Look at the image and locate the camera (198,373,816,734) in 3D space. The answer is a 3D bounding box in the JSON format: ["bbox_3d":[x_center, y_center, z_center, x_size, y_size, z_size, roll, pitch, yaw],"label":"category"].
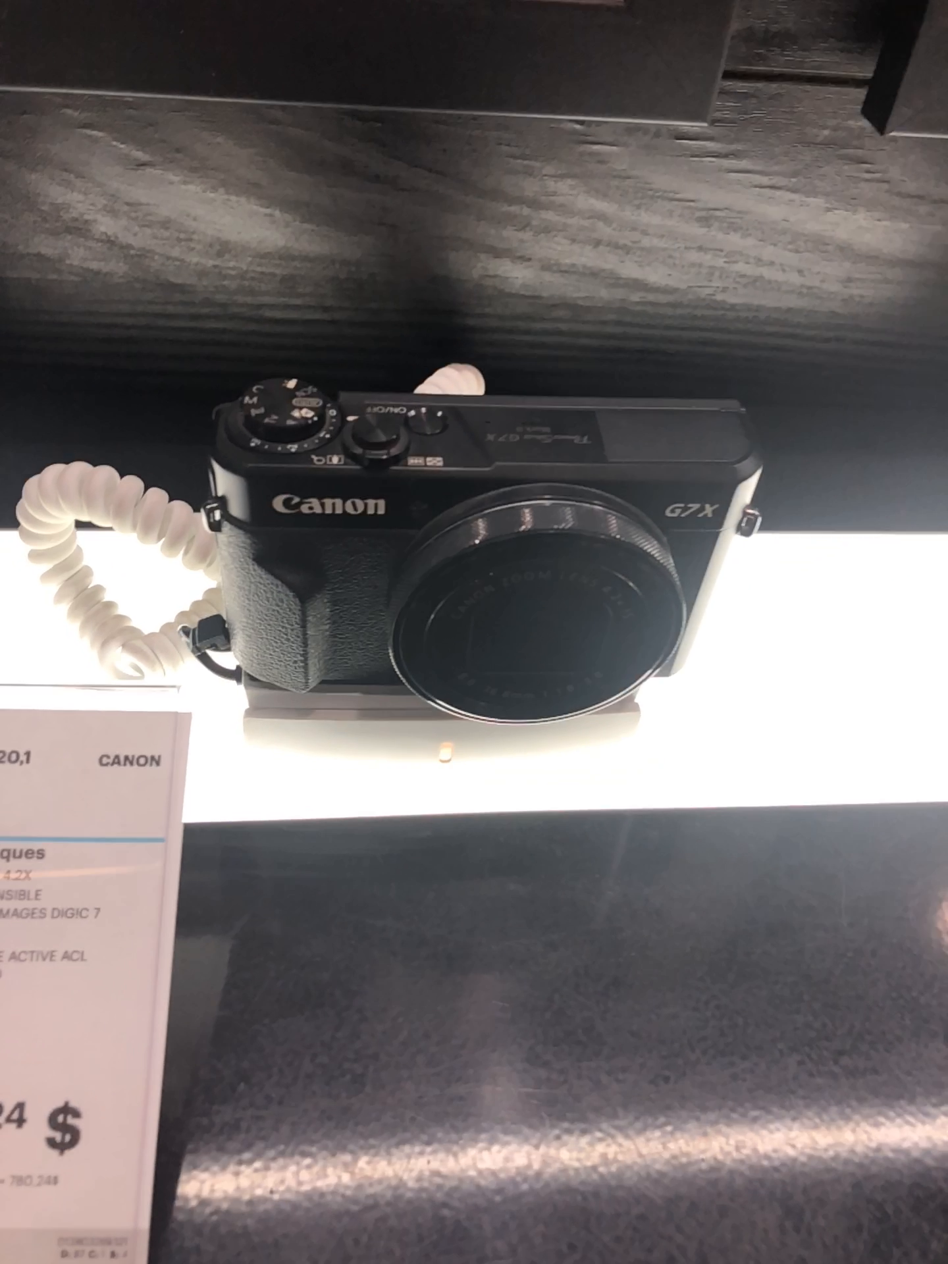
[{"bbox_3d":[0.003,-0.013,0.202,0.100,0.056,0.038,0,45,-7],"label":"camera"}]
